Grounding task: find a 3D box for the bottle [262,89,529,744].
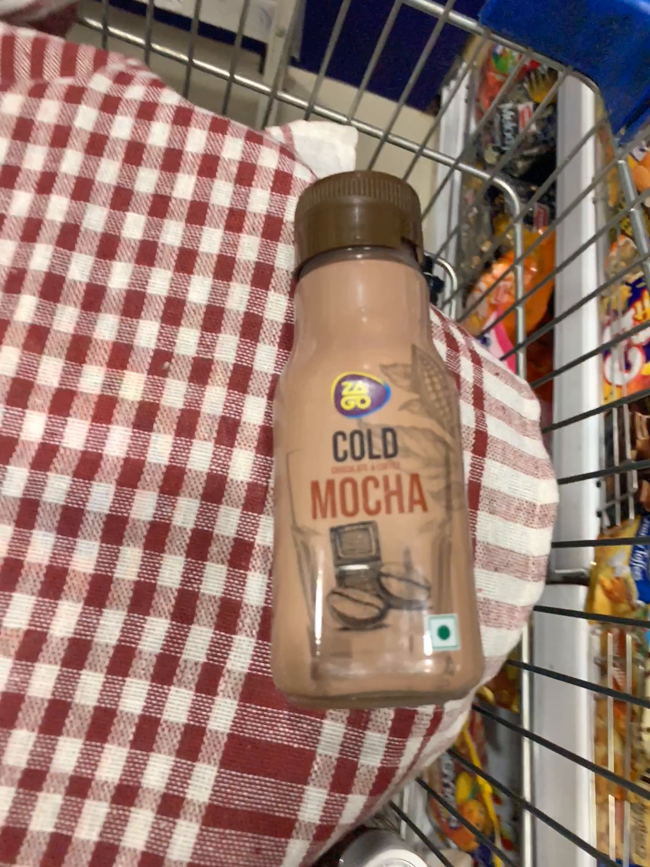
[{"bbox_3d":[0.014,-0.006,0.204,0.060,0.070,0.170,-1,77,0],"label":"bottle"}]
